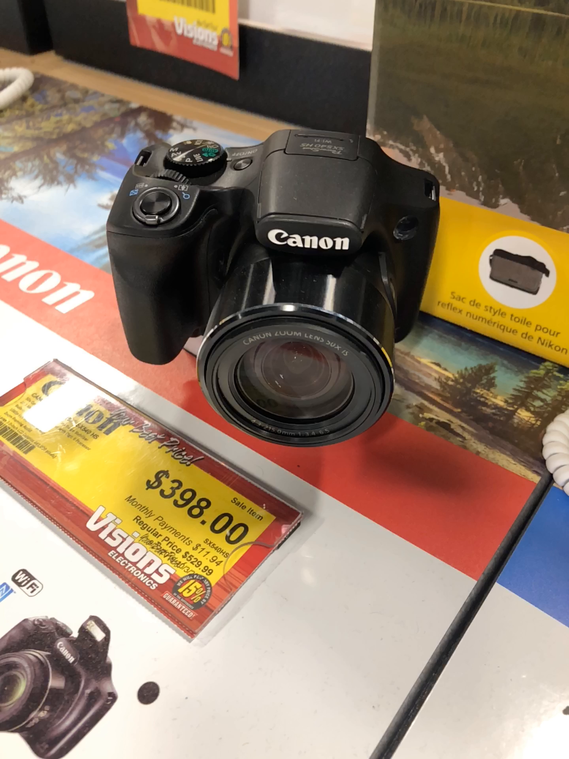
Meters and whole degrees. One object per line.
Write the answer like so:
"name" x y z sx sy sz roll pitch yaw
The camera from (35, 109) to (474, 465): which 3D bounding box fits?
"camera" -0.002 -0.038 0.228 0.120 0.080 0.091 7 42 8
